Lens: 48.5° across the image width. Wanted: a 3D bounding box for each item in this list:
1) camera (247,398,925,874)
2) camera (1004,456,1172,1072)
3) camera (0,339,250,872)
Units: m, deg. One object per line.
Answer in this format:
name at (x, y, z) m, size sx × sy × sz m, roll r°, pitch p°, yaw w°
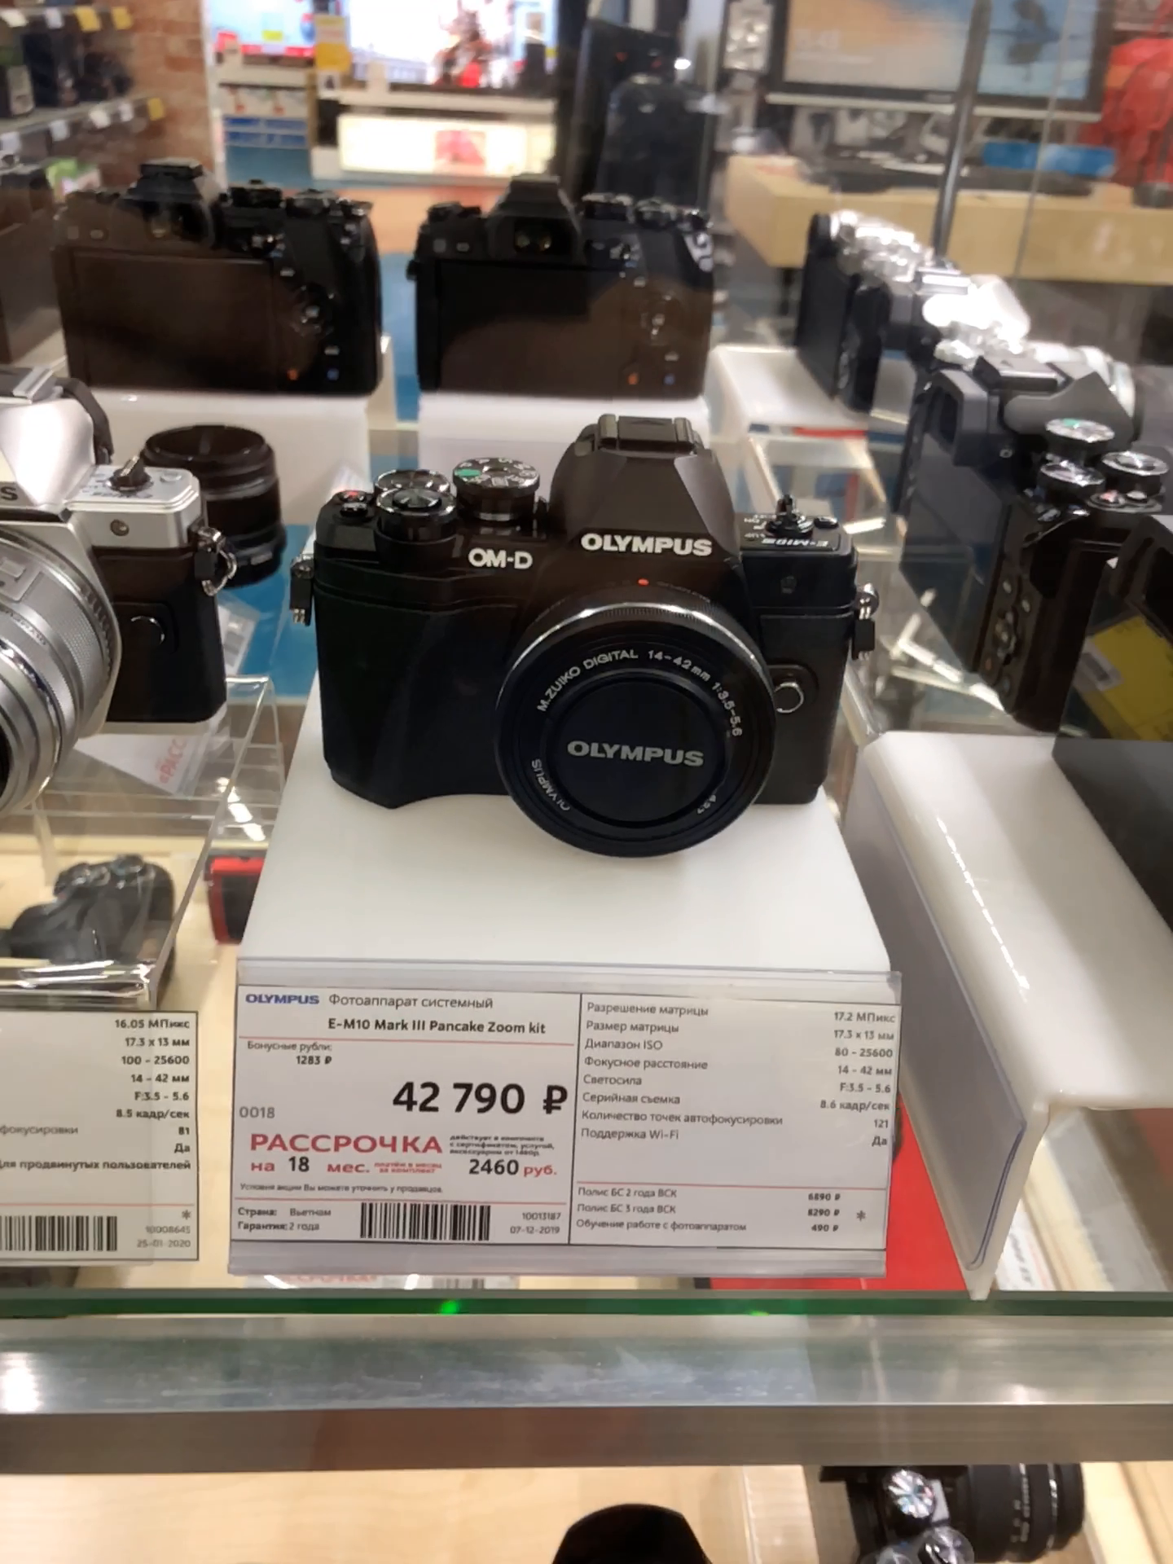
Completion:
camera at (-0.001, -0.034, 0.296) m, size 0.129 × 0.082 × 0.064 m, roll 3°, pitch 31°, yaw 0°
camera at (0.161, -0.011, 0.272) m, size 0.094 × 0.074 × 0.124 m, roll 1°, pitch 31°, yaw -4°
camera at (-0.145, -0.043, 0.287) m, size 0.112 × 0.080 × 0.094 m, roll 3°, pitch 31°, yaw 0°
